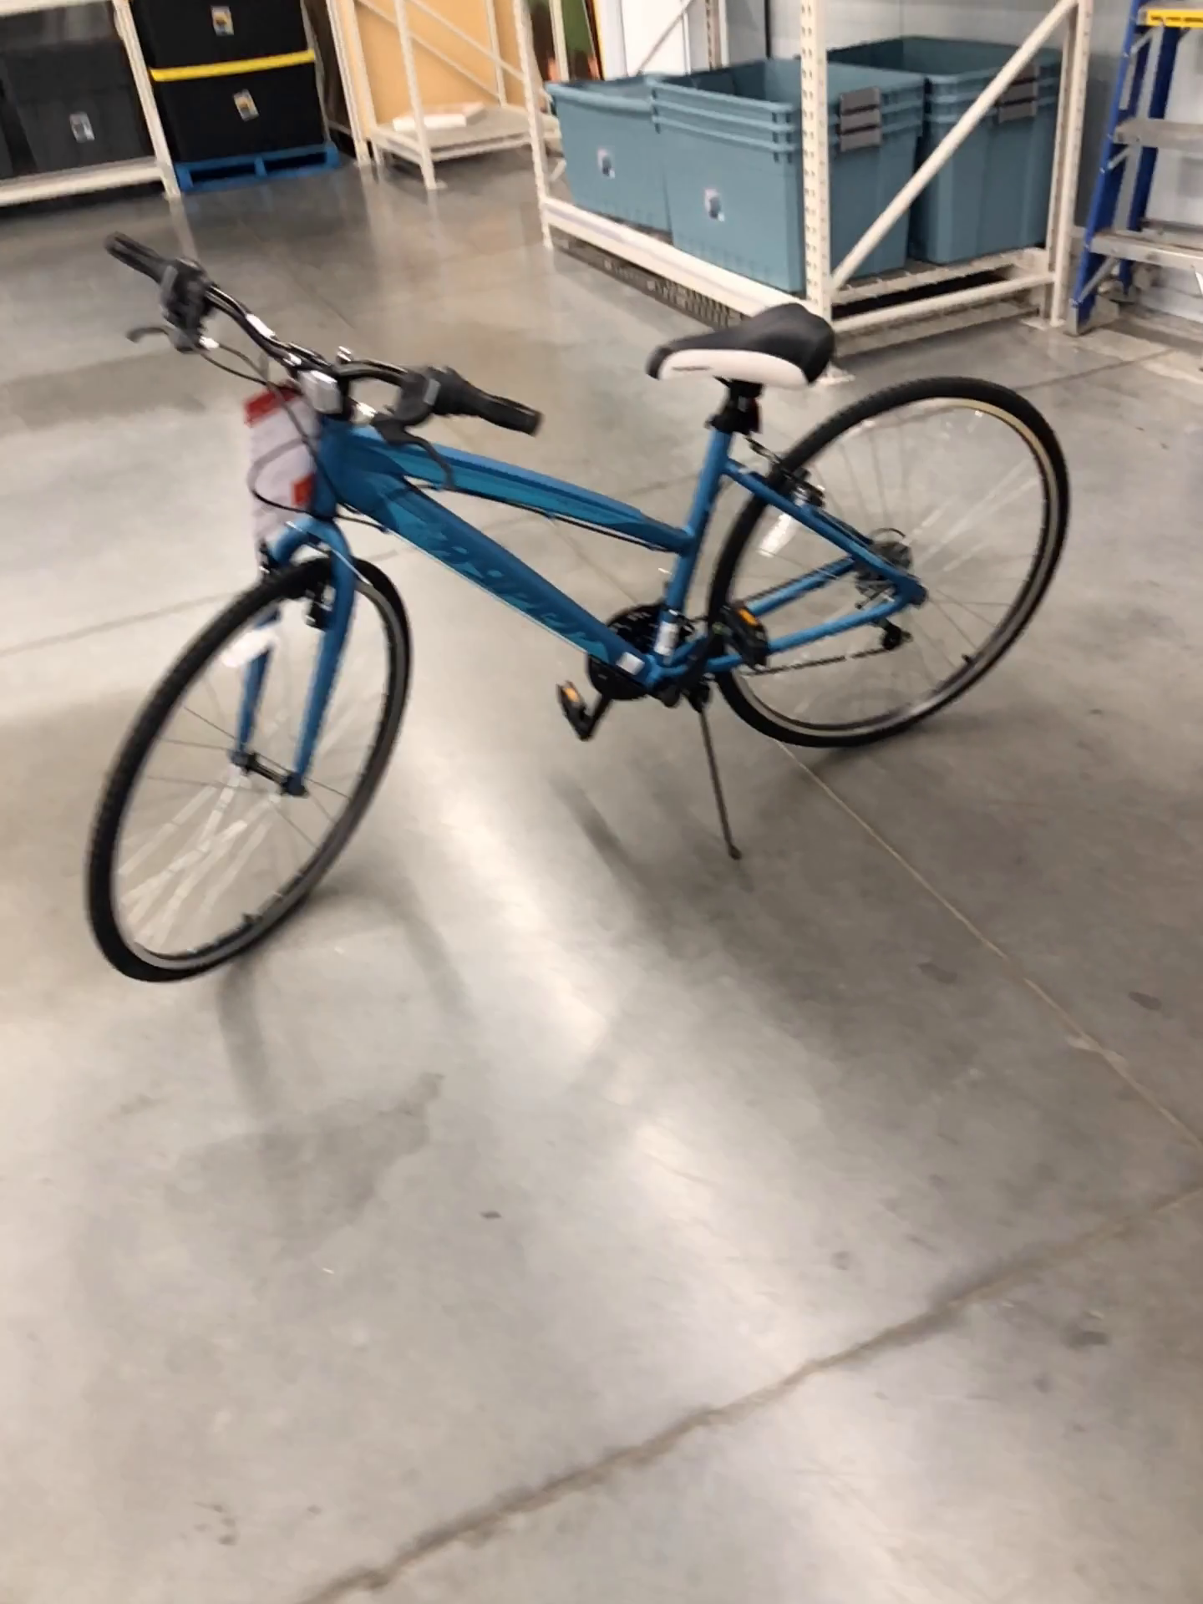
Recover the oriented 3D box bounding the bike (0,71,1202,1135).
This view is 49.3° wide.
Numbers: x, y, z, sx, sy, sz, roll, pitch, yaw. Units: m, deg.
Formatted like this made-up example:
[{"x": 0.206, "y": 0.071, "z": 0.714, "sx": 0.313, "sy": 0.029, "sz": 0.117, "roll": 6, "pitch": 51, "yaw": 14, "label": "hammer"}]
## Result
[{"x": 0.010, "y": -0.378, "z": 1.877, "sx": 1.605, "sy": 0.978, "sz": 0.581, "roll": -21, "pitch": 37, "yaw": -21, "label": "bike"}]
